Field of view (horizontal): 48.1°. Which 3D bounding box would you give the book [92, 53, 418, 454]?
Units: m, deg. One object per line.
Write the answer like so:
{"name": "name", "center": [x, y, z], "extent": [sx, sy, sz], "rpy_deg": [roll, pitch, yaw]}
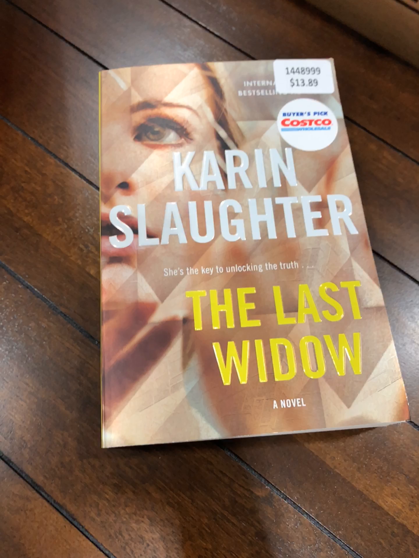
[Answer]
{"name": "book", "center": [0.014, -0.025, 0.279], "extent": [0.154, 0.042, 0.230], "rpy_deg": [-4, 70, -2]}
